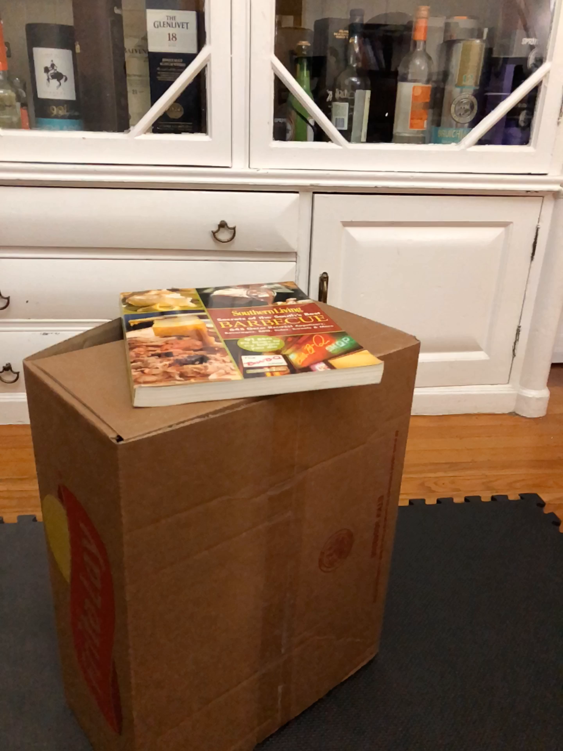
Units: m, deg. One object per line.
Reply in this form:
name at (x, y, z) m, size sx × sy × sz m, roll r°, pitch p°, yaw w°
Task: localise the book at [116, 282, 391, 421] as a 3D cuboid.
book at (-0.051, -0.042, 0.634) m, size 0.220 × 0.020 × 0.291 m, roll -5°, pitch 25°, yaw -15°
